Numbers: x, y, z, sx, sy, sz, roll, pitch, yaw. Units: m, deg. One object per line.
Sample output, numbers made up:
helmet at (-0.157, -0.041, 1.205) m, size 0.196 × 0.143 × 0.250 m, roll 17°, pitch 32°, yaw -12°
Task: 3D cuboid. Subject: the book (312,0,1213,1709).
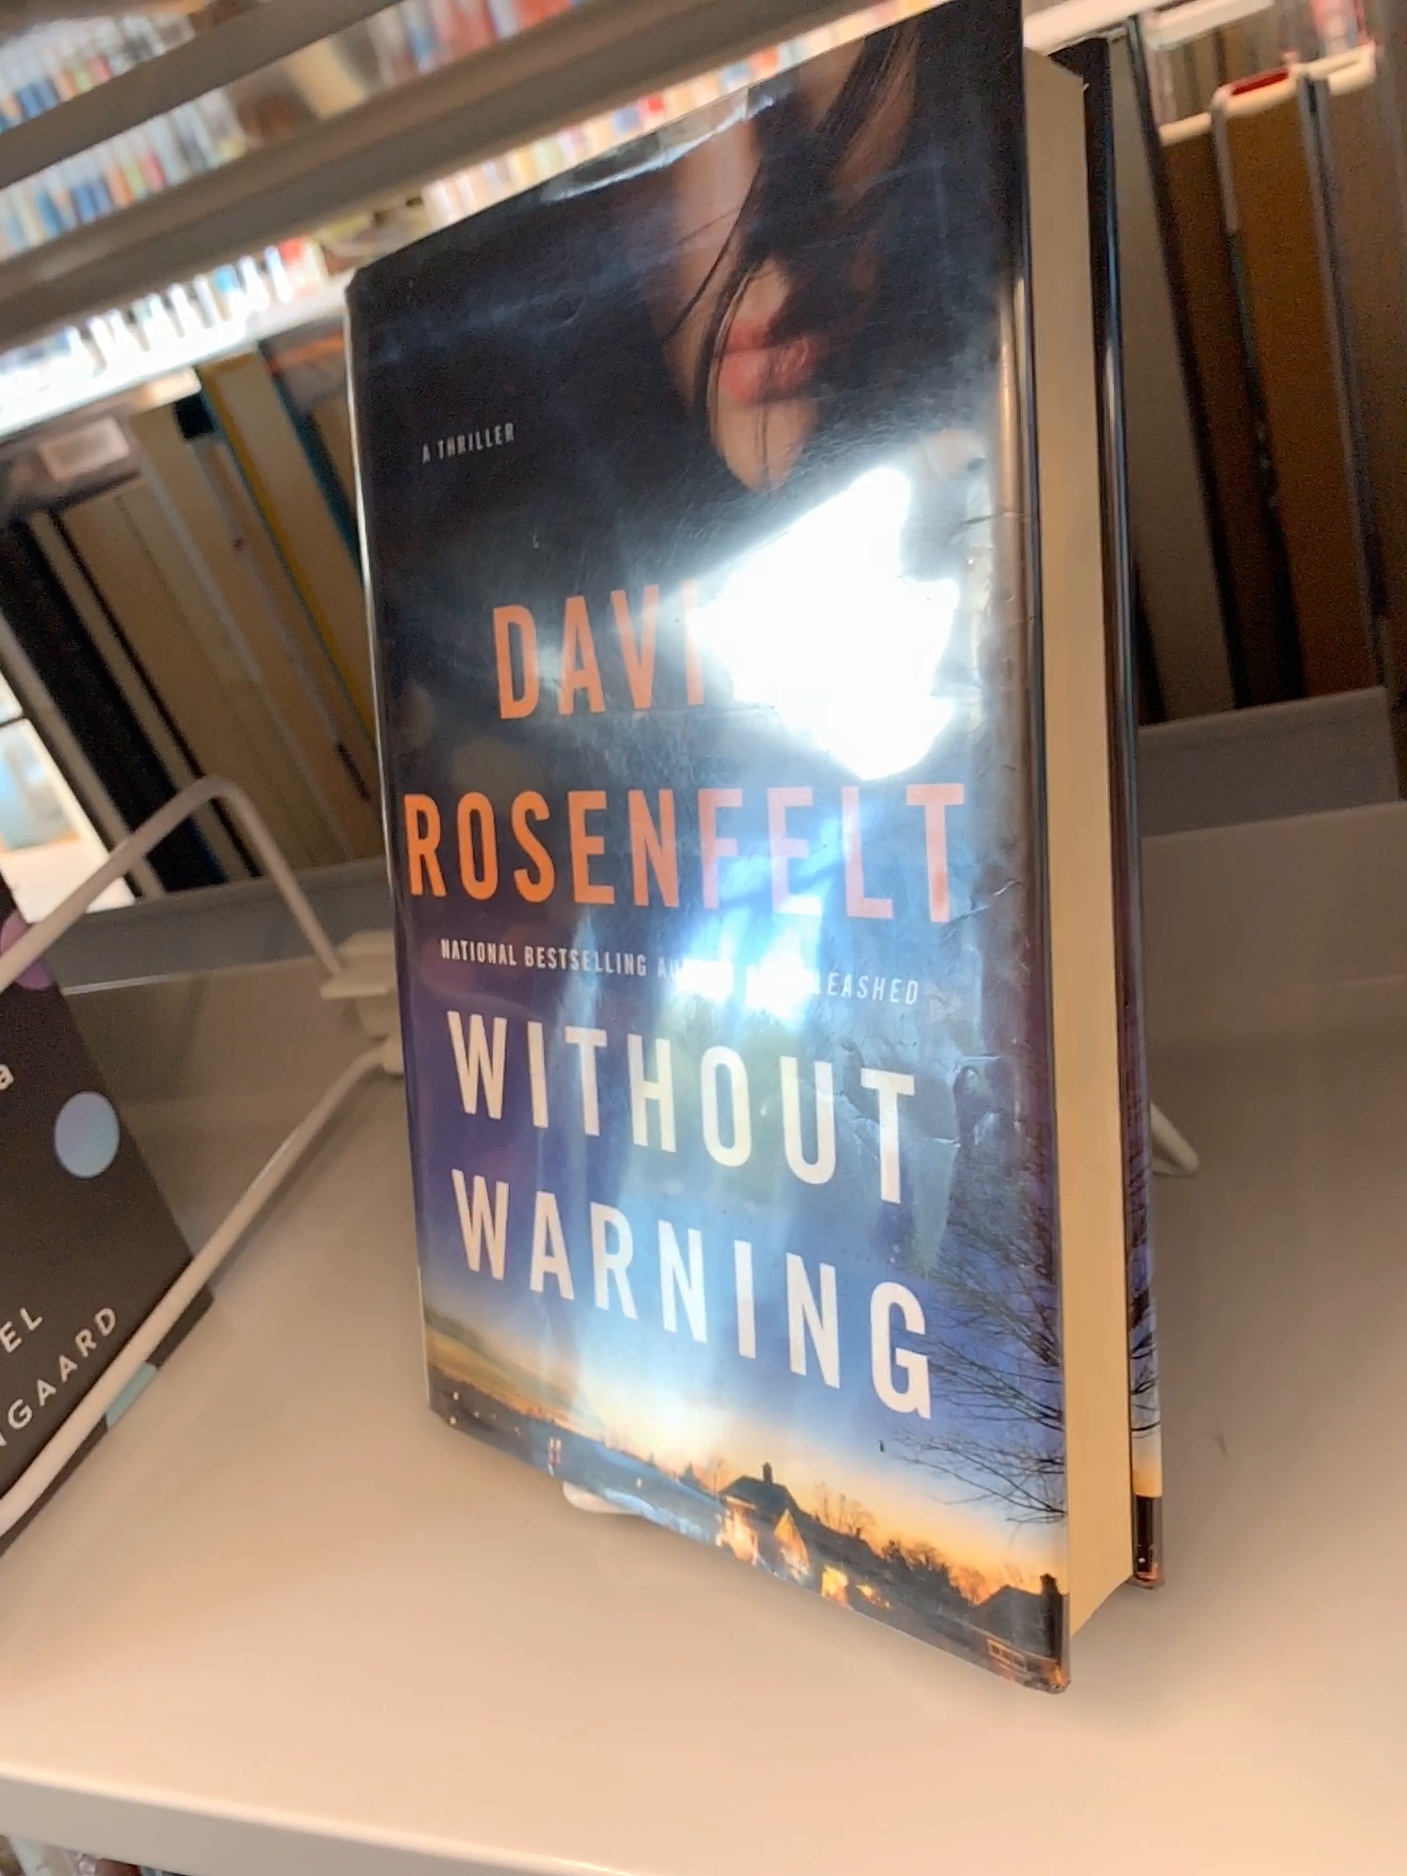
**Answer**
book at (0.003, -0.013, 0.255) m, size 0.158 × 0.230 × 0.035 m, roll 4°, pitch 12°, yaw 43°
